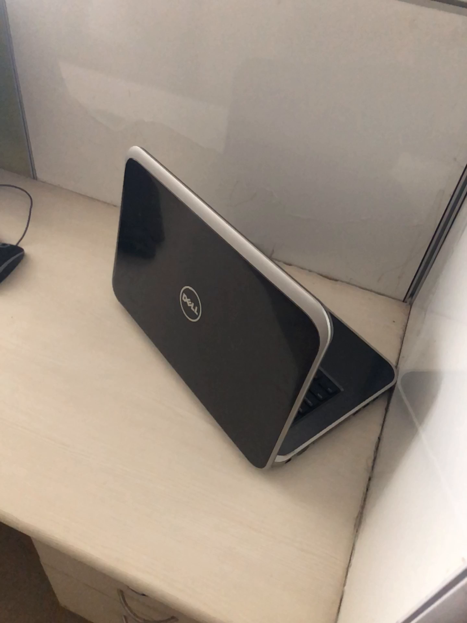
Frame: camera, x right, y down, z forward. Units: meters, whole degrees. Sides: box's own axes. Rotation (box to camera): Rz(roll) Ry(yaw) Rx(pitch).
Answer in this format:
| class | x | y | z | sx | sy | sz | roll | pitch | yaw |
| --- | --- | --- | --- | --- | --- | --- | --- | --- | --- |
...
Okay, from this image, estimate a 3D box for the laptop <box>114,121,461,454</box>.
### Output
| class | x | y | z | sx | sy | sz | roll | pitch | yaw |
| --- | --- | --- | --- | --- | --- | --- | --- | --- | --- |
| laptop | 0.046 | -0.052 | 0.668 | 0.239 | 0.217 | 0.334 | -25 | 55 | -31 |
